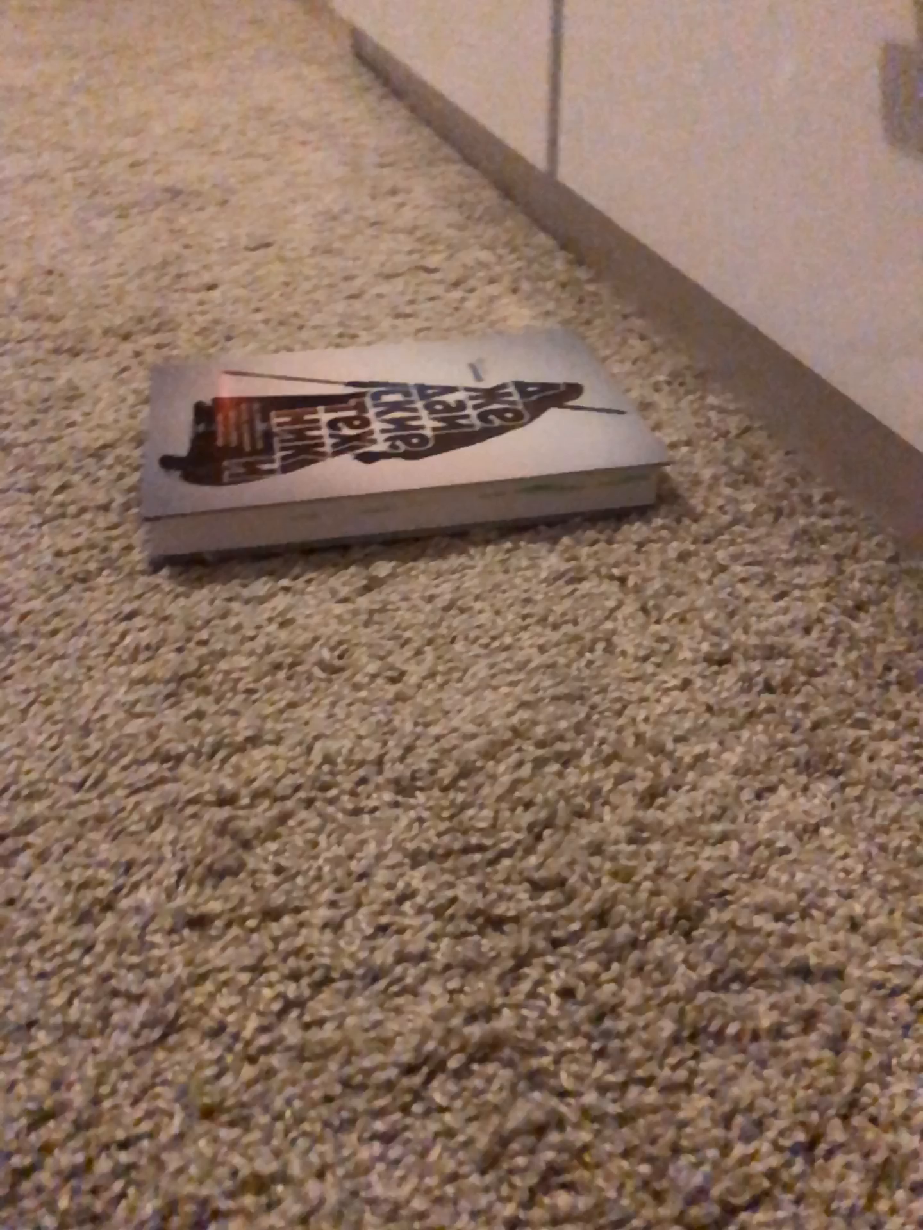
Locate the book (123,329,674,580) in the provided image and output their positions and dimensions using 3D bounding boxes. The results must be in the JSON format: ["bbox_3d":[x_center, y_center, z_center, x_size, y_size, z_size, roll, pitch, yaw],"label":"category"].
[{"bbox_3d":[-0.035,-0.082,0.469,0.220,0.026,0.151,-7,38,-9],"label":"book"}]
